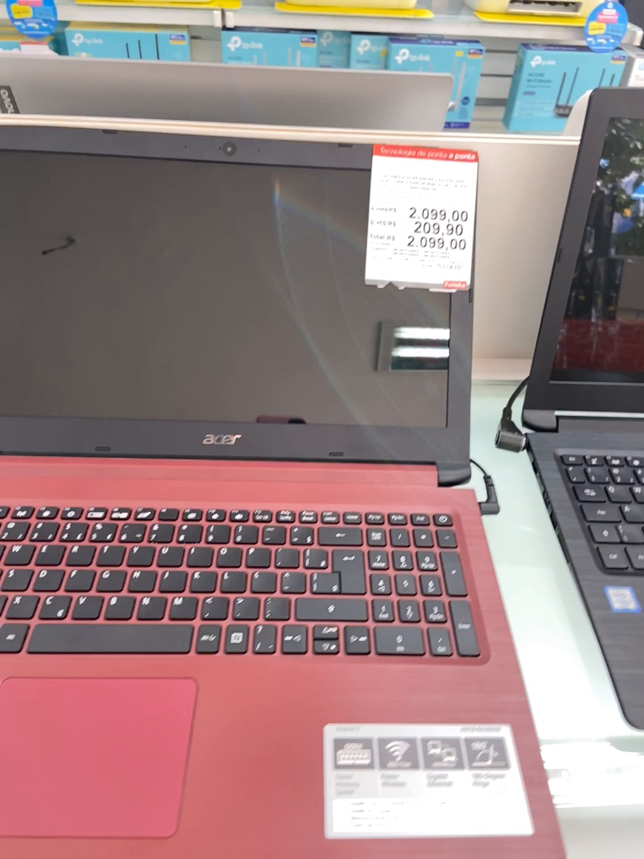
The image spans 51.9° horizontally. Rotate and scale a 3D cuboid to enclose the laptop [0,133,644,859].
[{"bbox_3d":[-0.075,-0.008,0.412,0.391,0.193,0.432,2,40,-2],"label":"laptop"}]
